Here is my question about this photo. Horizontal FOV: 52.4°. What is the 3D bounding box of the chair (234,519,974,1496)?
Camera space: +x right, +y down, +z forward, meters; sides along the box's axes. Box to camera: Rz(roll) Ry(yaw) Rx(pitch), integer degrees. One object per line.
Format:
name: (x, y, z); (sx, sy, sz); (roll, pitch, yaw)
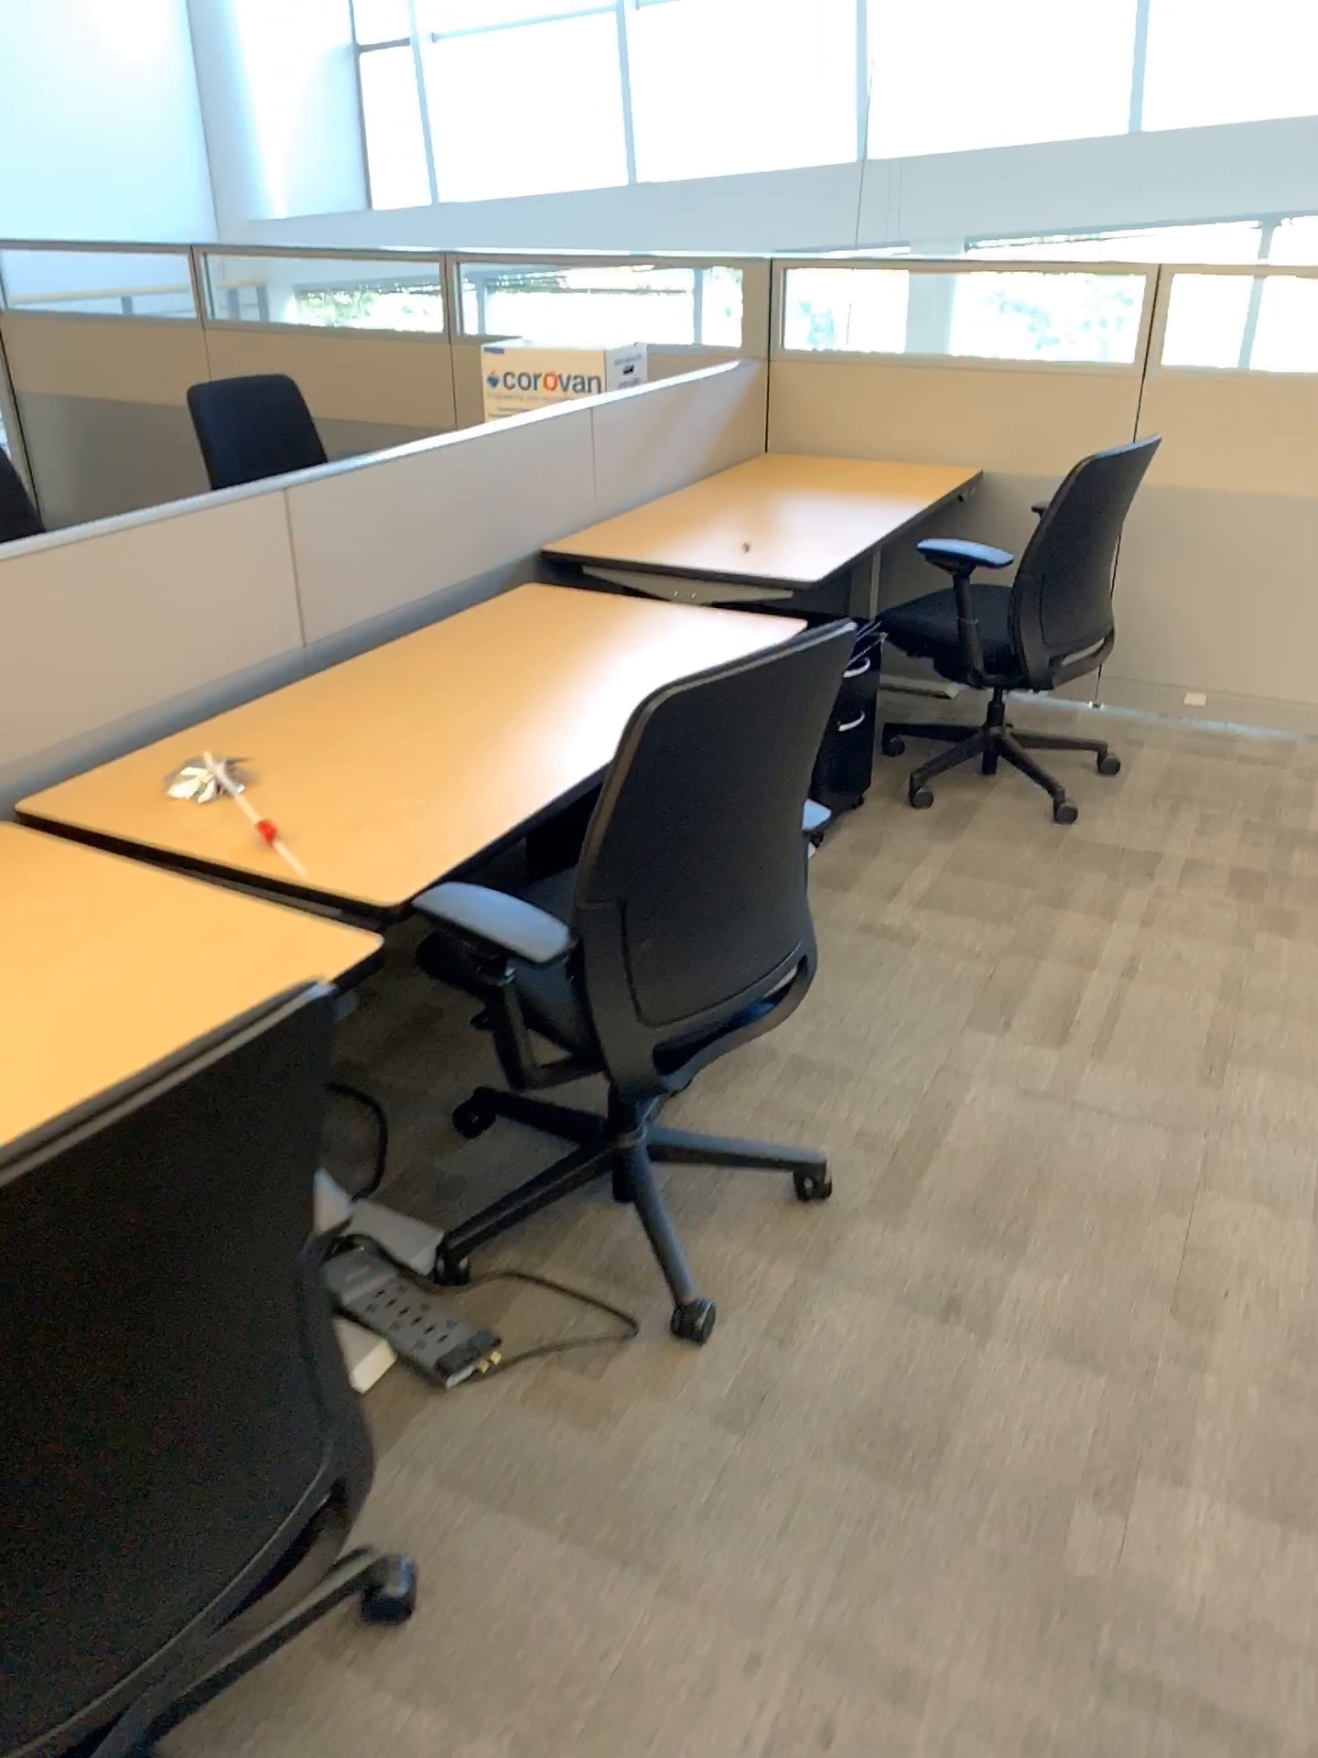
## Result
chair: (-0.092, 0.132, 2.175); (0.751, 1.183, 0.763); (-20, 33, -34)

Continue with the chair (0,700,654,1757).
chair: (-0.538, 0.535, 1.547); (0.762, 1.183, 0.752); (18, 32, 33)

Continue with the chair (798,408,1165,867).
chair: (1.020, -0.833, 4.431); (0.751, 1.233, 0.763); (-20, 33, -34)
